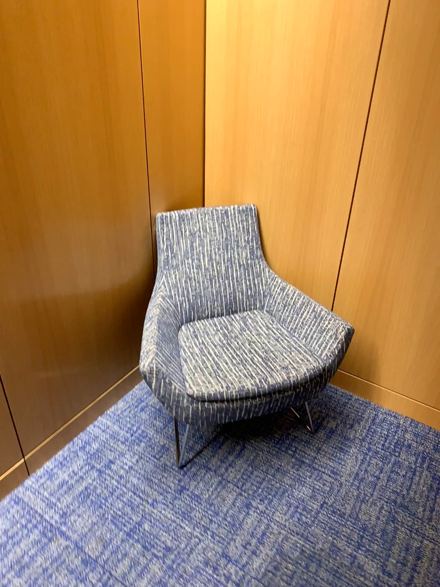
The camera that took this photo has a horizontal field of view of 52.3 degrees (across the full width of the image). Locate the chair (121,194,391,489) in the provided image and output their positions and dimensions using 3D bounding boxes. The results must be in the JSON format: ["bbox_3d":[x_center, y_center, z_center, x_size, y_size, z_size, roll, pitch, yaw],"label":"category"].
[{"bbox_3d":[0.067,0.124,1.669,0.700,0.746,0.617,-10,33,-18],"label":"chair"}]
